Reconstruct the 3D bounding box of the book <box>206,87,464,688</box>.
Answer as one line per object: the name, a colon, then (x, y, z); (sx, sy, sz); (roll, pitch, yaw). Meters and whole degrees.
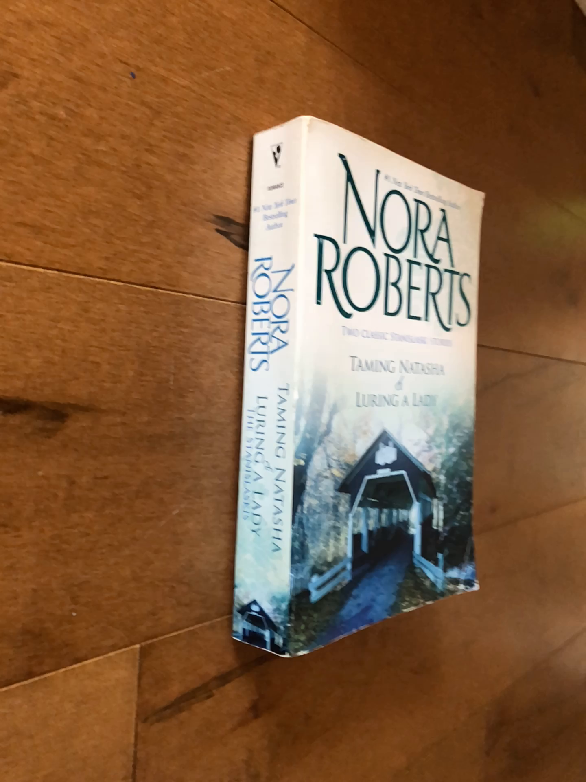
book: (0.026, 0.000, 0.300); (0.131, 0.040, 0.220); (1, 91, -49)
